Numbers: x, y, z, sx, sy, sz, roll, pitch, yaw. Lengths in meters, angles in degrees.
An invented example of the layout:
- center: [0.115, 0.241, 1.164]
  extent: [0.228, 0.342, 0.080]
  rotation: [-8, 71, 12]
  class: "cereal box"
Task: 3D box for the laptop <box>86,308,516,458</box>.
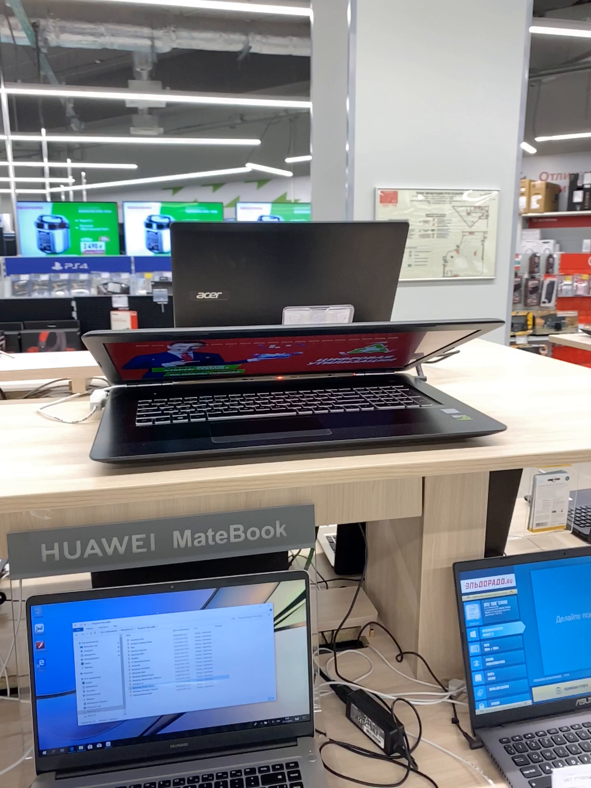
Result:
- center: [-0.009, -0.033, 0.704]
  extent: [0.413, 0.095, 0.269]
  rotation: [-3, 15, -11]
  class: "laptop"
